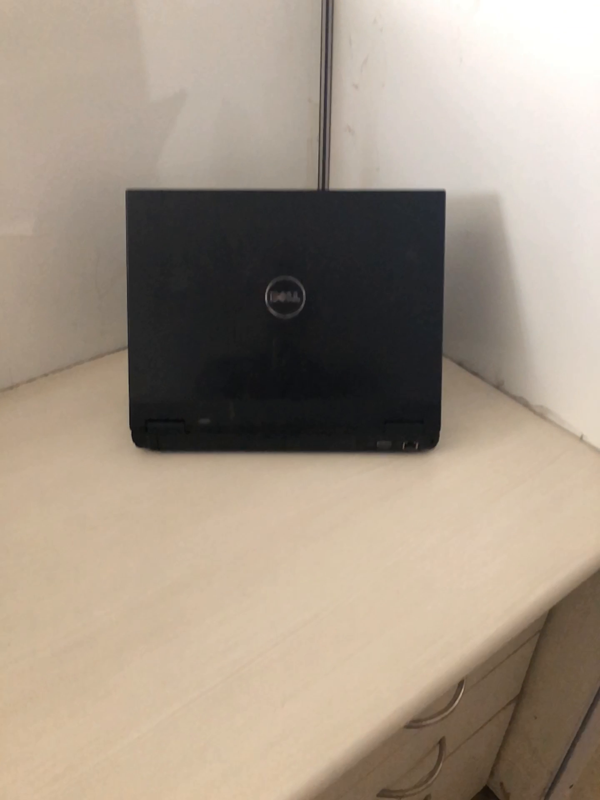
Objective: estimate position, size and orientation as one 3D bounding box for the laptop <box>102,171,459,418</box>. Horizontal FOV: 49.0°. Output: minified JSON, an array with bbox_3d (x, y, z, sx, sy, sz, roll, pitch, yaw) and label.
[{"bbox_3d":[-0.017,-0.122,0.714,0.303,0.190,0.231,1,34,0],"label":"laptop"}]
